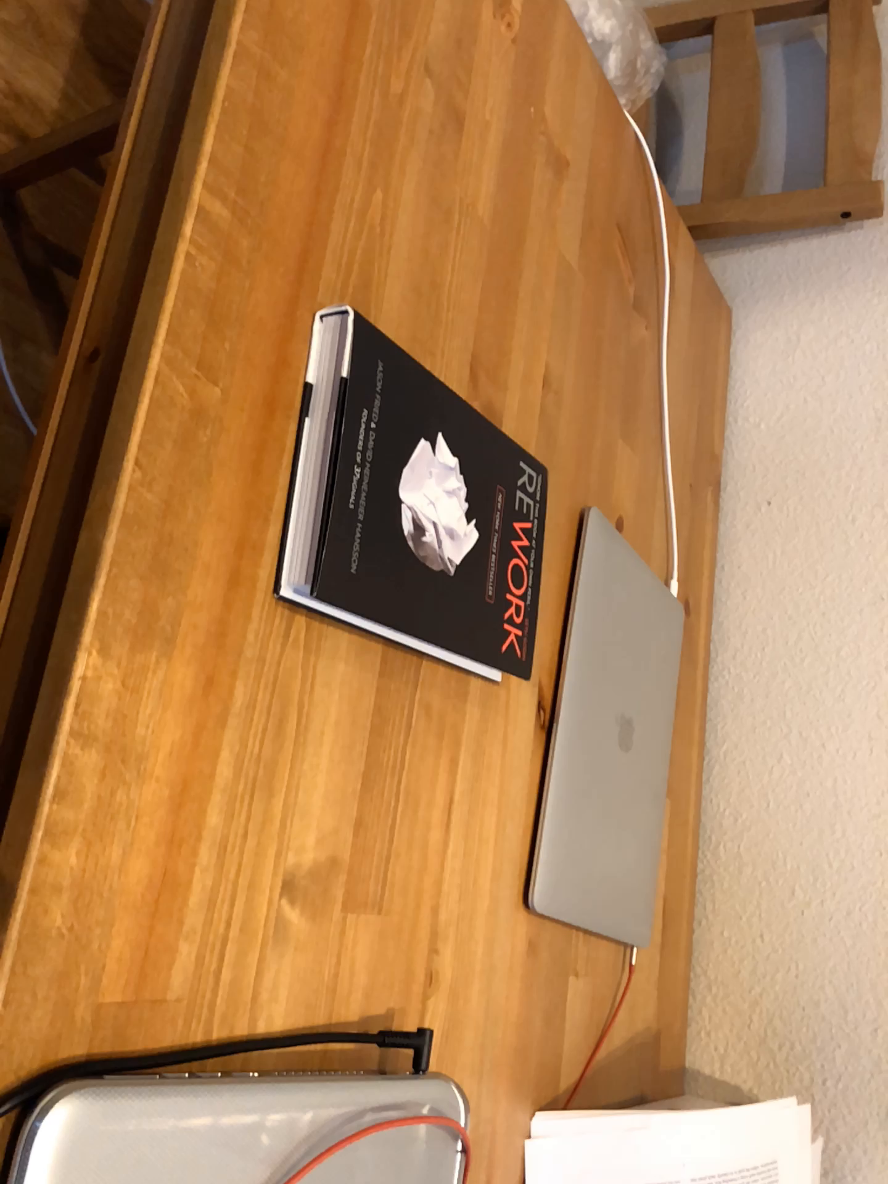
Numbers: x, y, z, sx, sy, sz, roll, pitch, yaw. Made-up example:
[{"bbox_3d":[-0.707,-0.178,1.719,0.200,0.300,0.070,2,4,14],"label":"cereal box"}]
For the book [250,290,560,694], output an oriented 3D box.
[{"bbox_3d":[-0.006,-0.040,0.565,0.232,0.040,0.160,25,66,-55],"label":"book"}]
